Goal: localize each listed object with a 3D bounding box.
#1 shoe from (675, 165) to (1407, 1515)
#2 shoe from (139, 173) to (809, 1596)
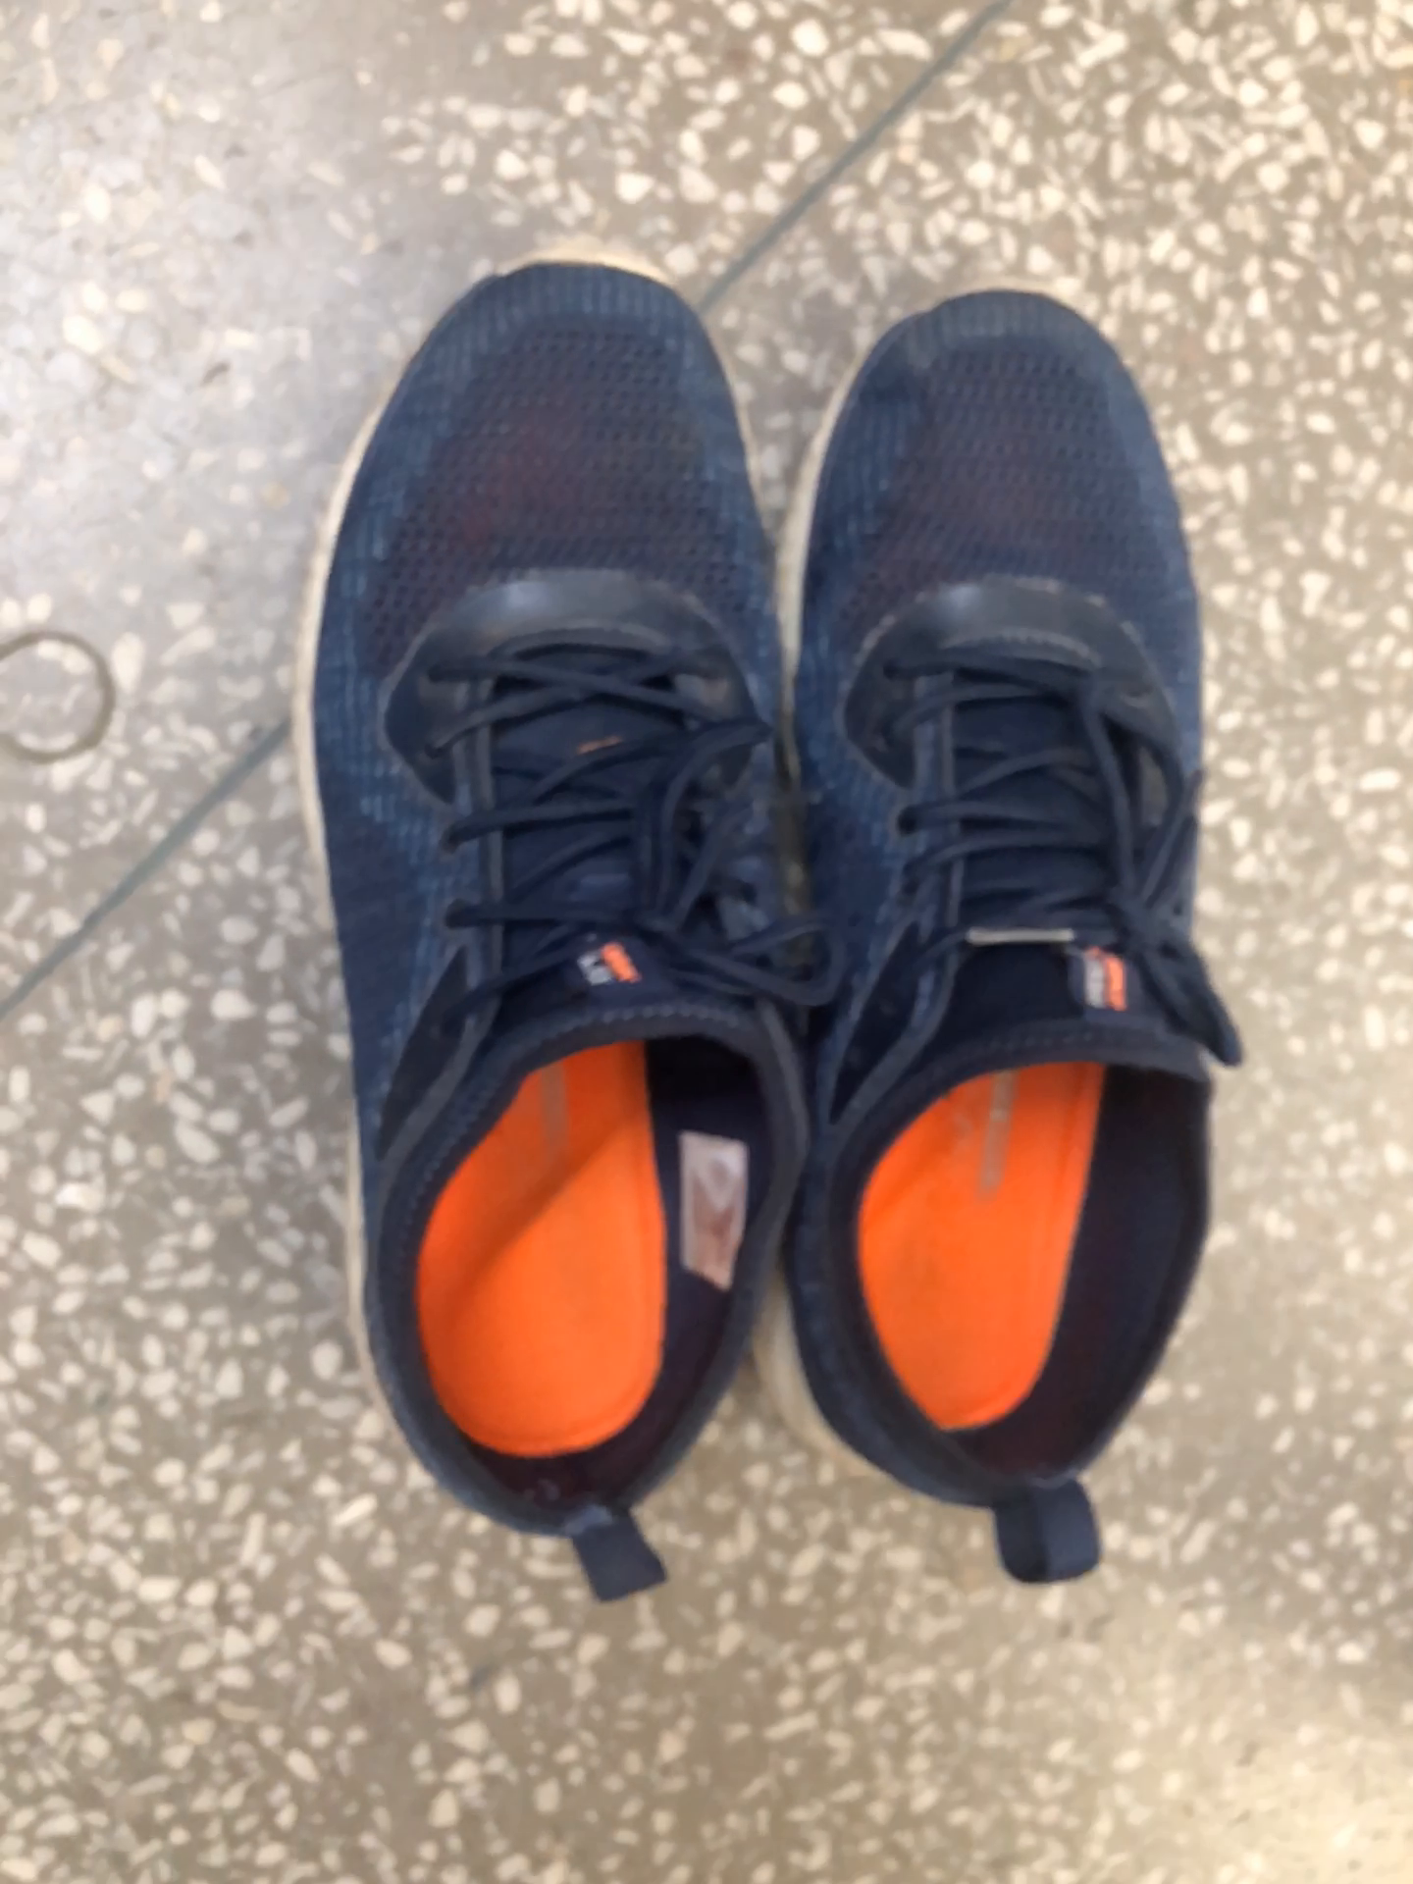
[{"bbox_3d":[0.063,-0.018,0.354,0.123,0.100,0.249,0,95,-9],"label":"shoe"},{"bbox_3d":[-0.045,-0.011,0.337,0.113,0.100,0.249,-1,95,-9],"label":"shoe"}]
